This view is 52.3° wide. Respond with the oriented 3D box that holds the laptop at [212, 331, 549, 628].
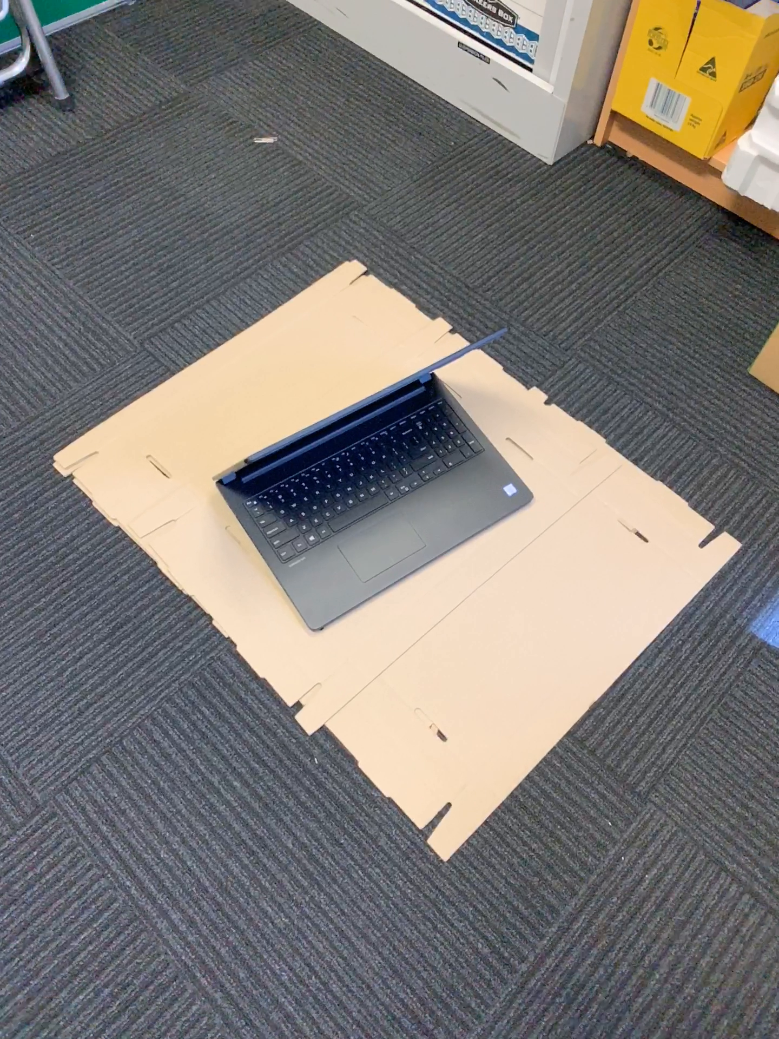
[{"bbox_3d":[-0.009,-0.060,0.981,0.341,0.085,0.221,-29,68,-19],"label":"laptop"}]
